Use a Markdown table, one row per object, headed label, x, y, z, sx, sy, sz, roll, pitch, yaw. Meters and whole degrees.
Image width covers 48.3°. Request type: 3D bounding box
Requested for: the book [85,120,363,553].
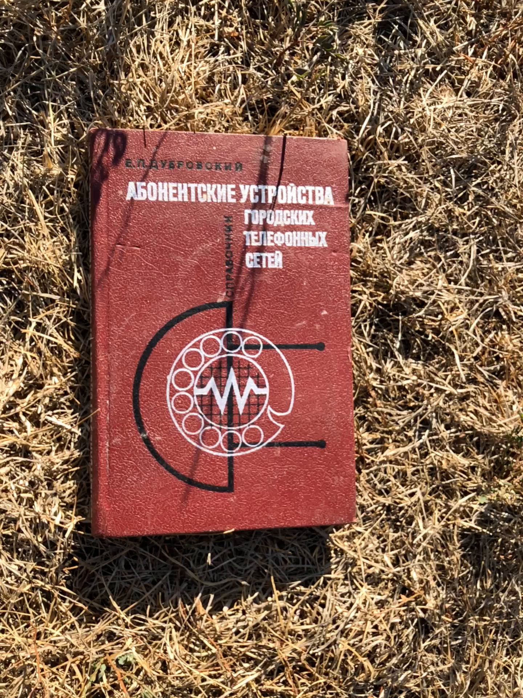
| label | x | y | z | sx | sy | sz | roll | pitch | yaw |
| --- | --- | --- | --- | --- | --- | --- | --- | --- | --- |
| book | -0.019 | -0.007 | 0.312 | 0.141 | 0.030 | 0.211 | 0 | 88 | -11 |
